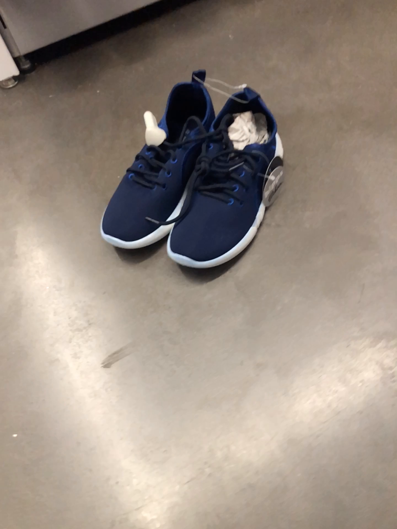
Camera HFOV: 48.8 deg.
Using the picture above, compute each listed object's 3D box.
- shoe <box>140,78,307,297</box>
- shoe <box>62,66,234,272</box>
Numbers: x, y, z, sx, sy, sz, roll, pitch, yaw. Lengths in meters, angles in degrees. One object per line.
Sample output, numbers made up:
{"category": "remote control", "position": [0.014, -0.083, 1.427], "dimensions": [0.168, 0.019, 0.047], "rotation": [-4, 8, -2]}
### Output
{"category": "shoe", "position": [0.039, -0.097, 0.512], "dimensions": [0.090, 0.090, 0.241], "rotation": [20, 63, 18]}
{"category": "shoe", "position": [-0.047, -0.124, 0.538], "dimensions": [0.090, 0.090, 0.241], "rotation": [20, 63, 18]}
